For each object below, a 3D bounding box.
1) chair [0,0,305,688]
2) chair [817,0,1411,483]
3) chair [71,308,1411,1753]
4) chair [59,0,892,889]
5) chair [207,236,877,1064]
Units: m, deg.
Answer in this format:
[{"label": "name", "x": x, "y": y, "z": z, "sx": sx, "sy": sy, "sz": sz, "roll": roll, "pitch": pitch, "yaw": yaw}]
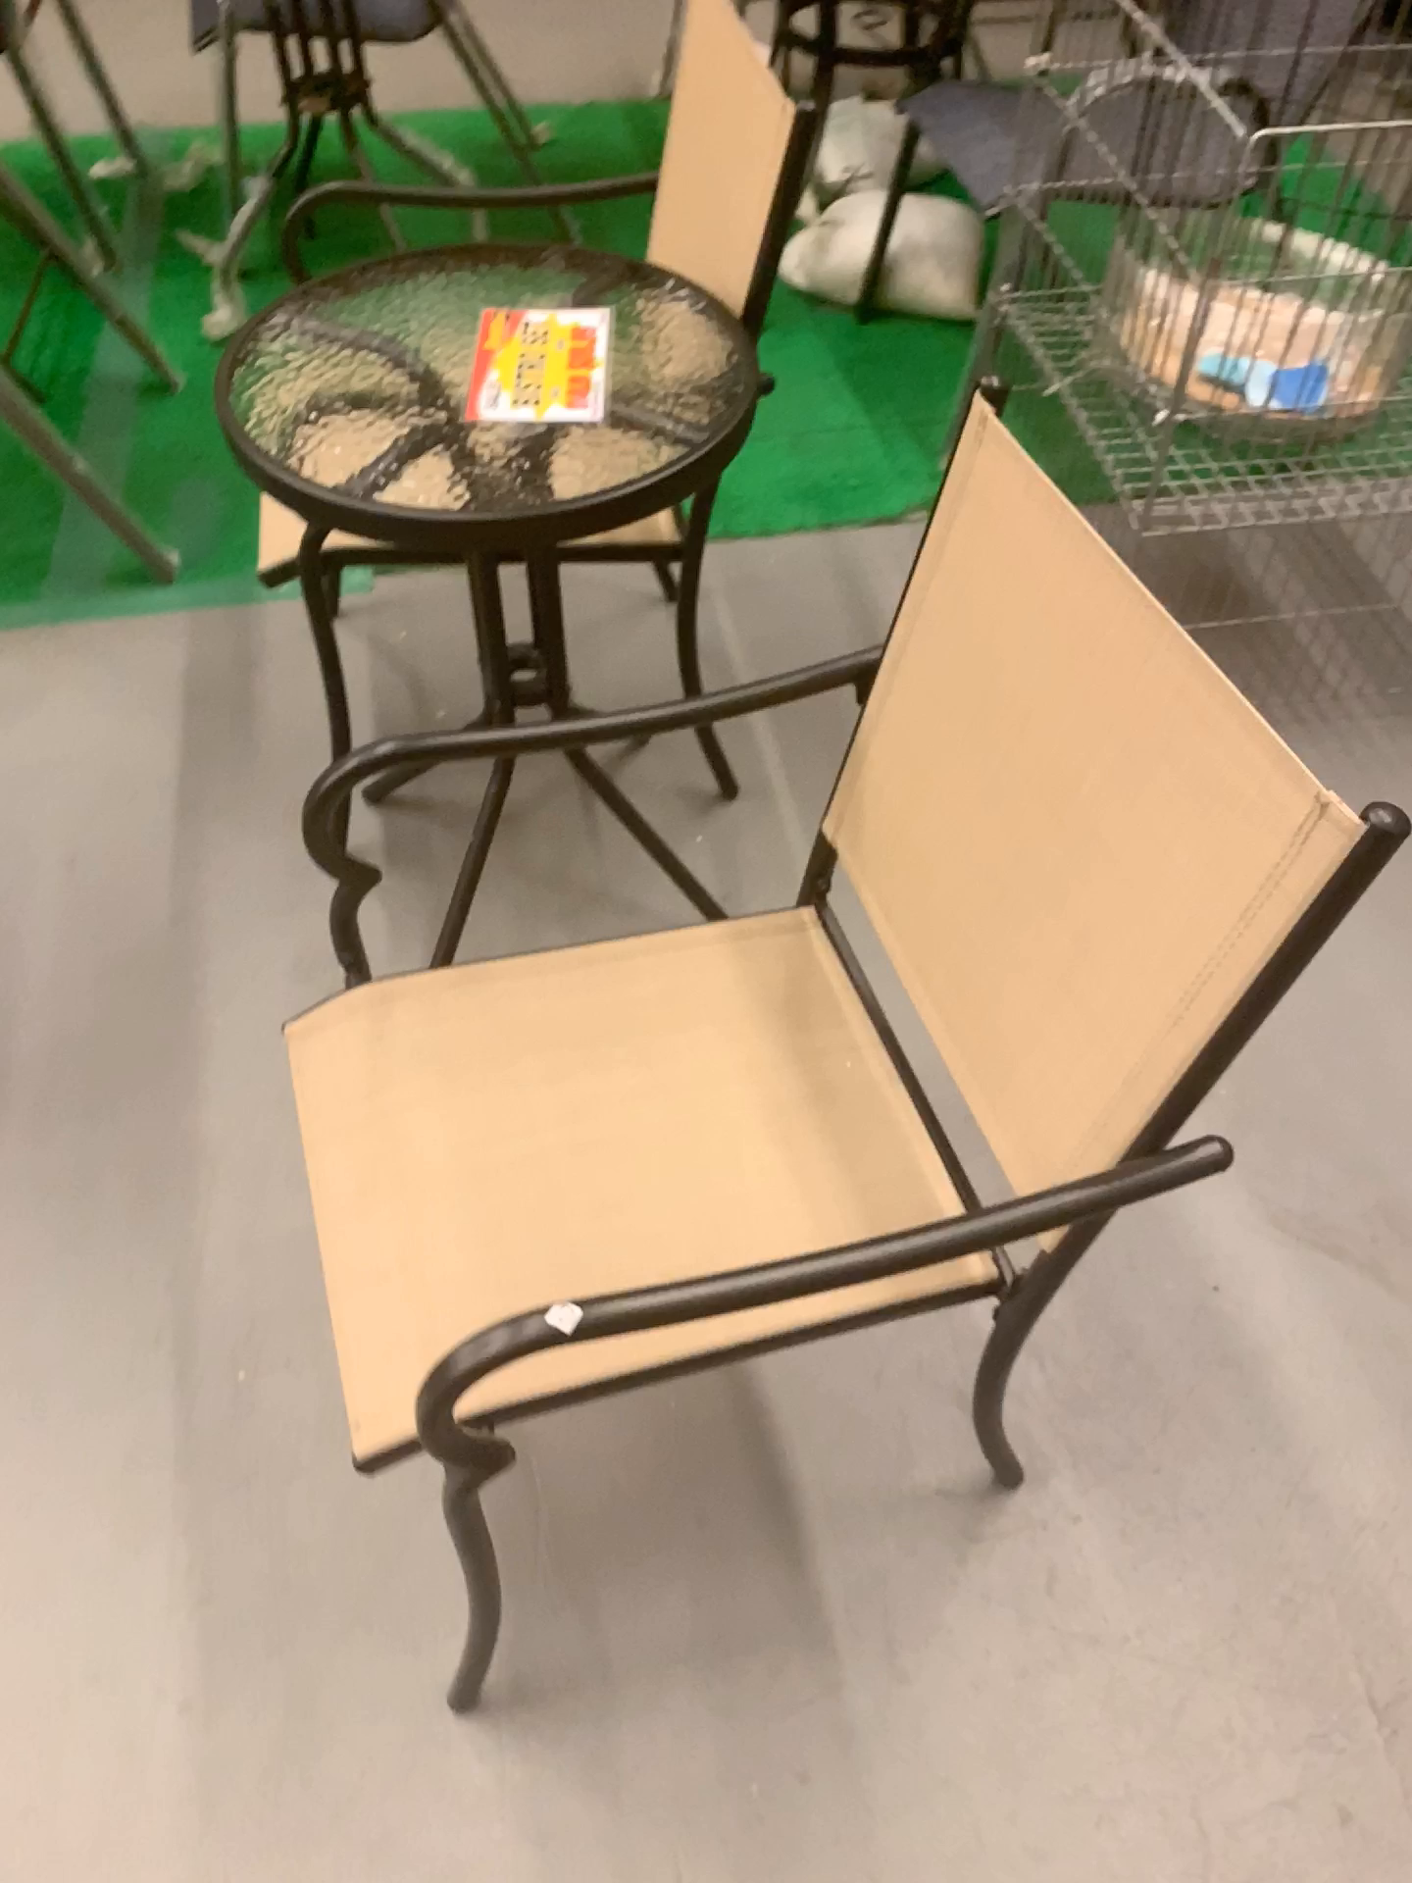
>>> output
[{"label": "chair", "x": -1.196, "y": -1.061, "z": 2.041, "sx": 1.025, "sy": 0.982, "sz": 0.808, "roll": -8, "pitch": 50, "yaw": -8}, {"label": "chair", "x": 0.623, "y": -1.374, "z": 2.301, "sx": 0.675, "sy": 0.953, "sz": 0.667, "roll": -9, "pitch": 50, "yaw": -9}, {"label": "chair", "x": -0.016, "y": 0.111, "z": 1.110, "sx": 0.615, "sy": 0.863, "sz": 0.577, "roll": -14, "pitch": 51, "yaw": -12}, {"label": "chair", "x": -0.243, "y": -0.649, "z": 1.715, "sx": 0.675, "sy": 0.923, "sz": 0.617, "roll": -9, "pitch": 50, "yaw": -9}, {"label": "chair", "x": -0.184, "y": -0.310, "z": 1.580, "sx": 0.545, "sy": 0.634, "sz": 0.526, "roll": -10, "pitch": 50, "yaw": -9}]
